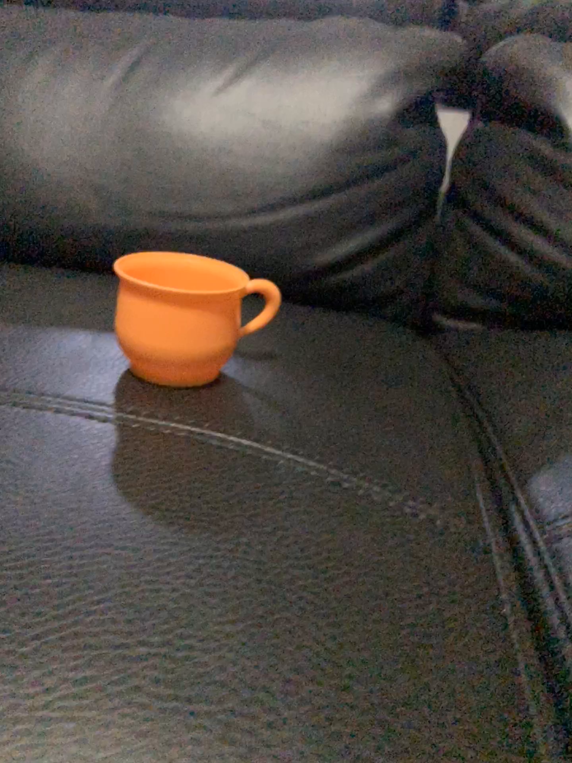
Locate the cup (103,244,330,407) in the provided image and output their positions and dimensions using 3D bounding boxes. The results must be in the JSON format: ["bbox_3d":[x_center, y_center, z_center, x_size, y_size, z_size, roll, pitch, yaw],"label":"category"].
[{"bbox_3d":[-0.034,-0.030,0.270,0.081,0.046,0.063,-8,31,-27],"label":"cup"}]
